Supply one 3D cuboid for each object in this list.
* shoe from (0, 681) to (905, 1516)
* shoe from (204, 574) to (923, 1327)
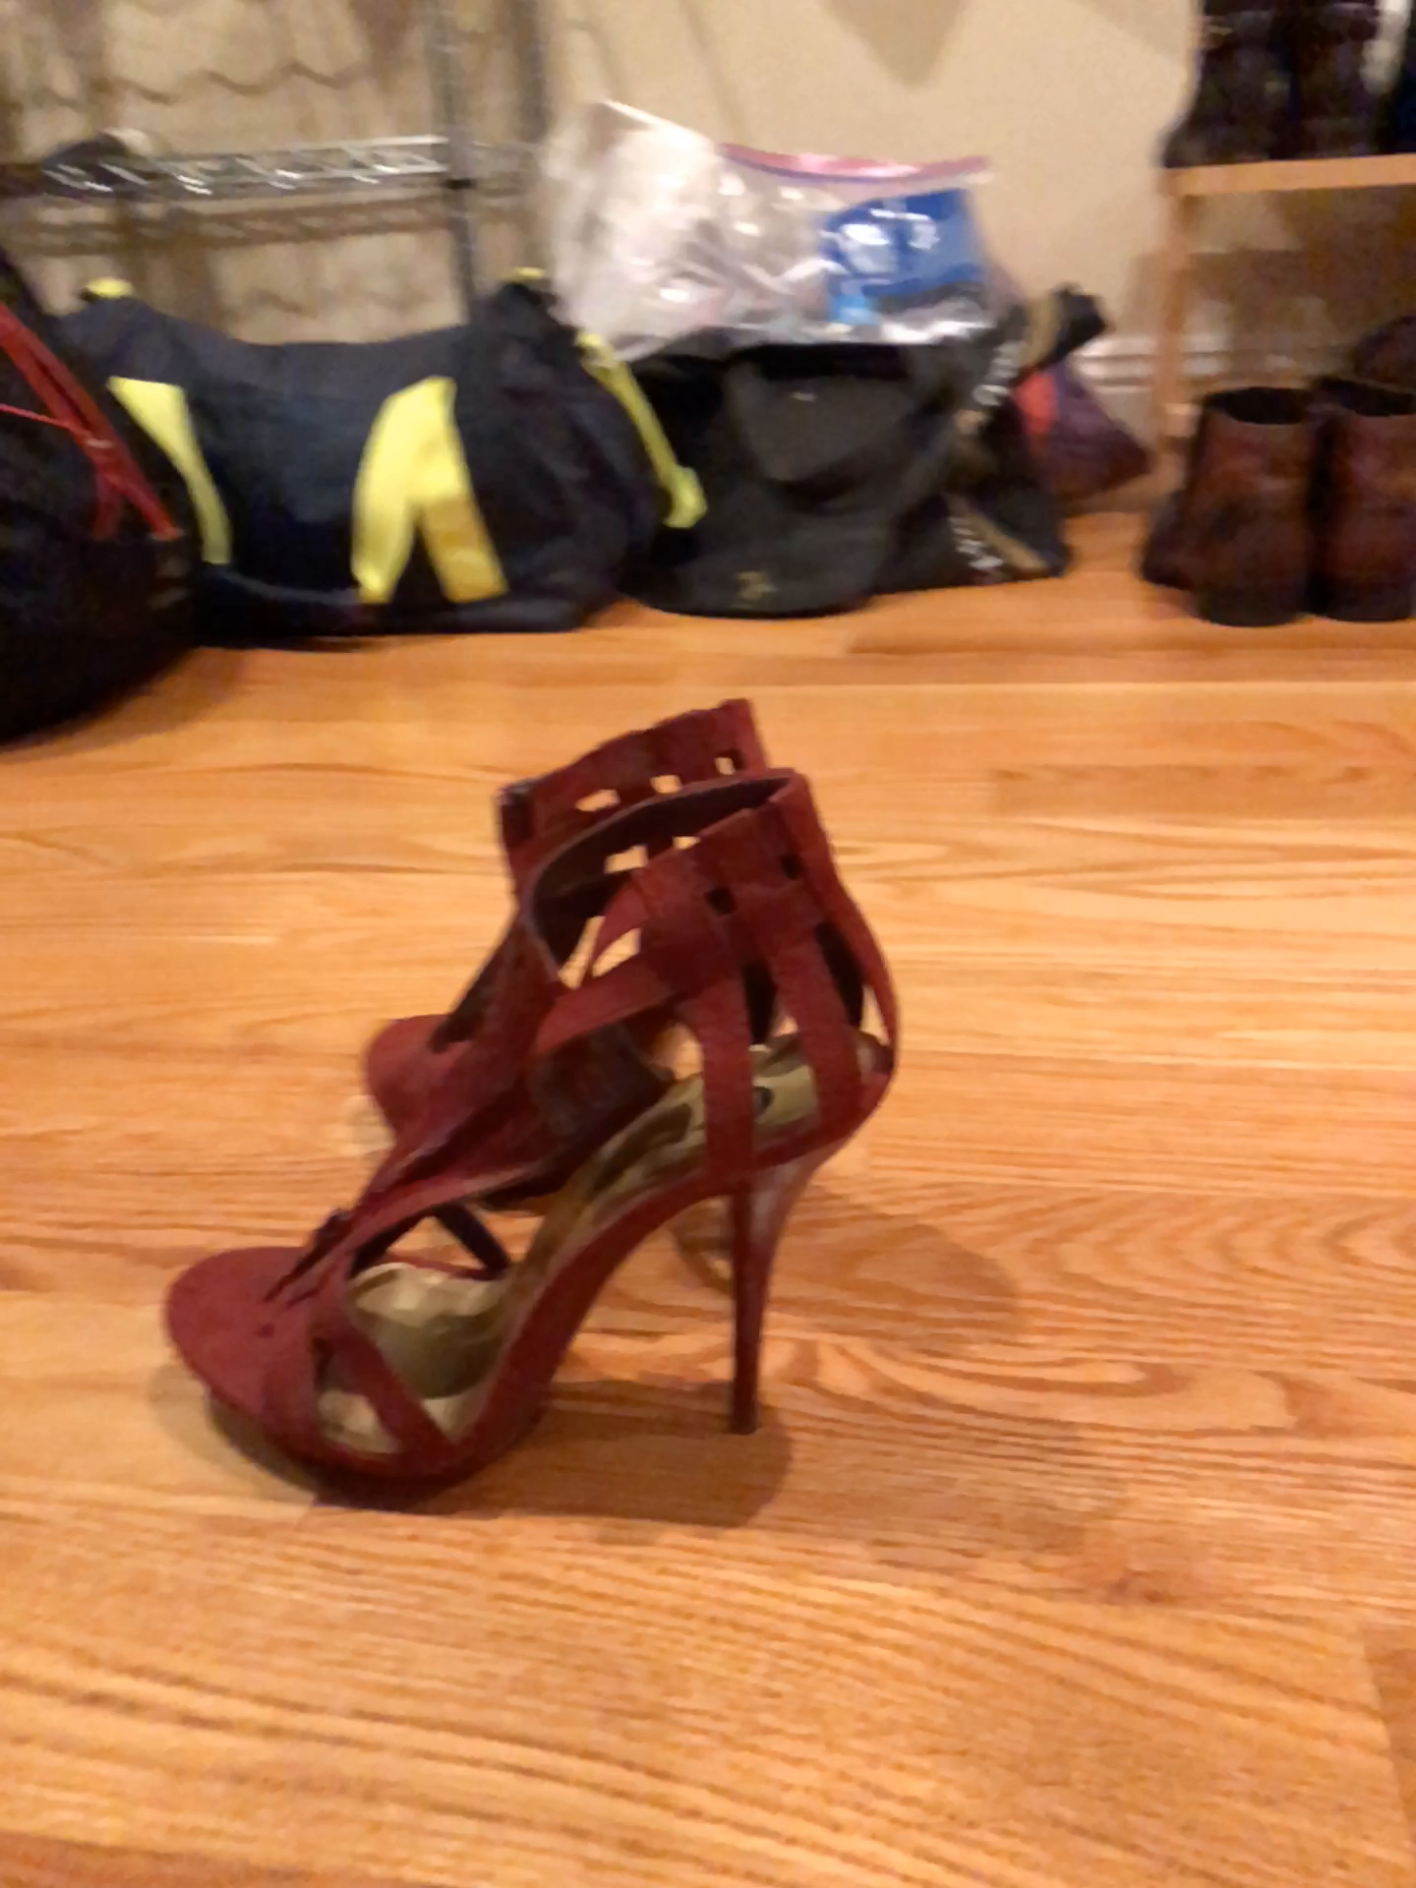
[{"bbox_3d":[-0.057,0.033,0.383,0.206,0.175,0.085,1,25,9],"label":"shoe"},{"bbox_3d":[-0.043,-0.010,0.484,0.199,0.175,0.085,14,30,33],"label":"shoe"}]
